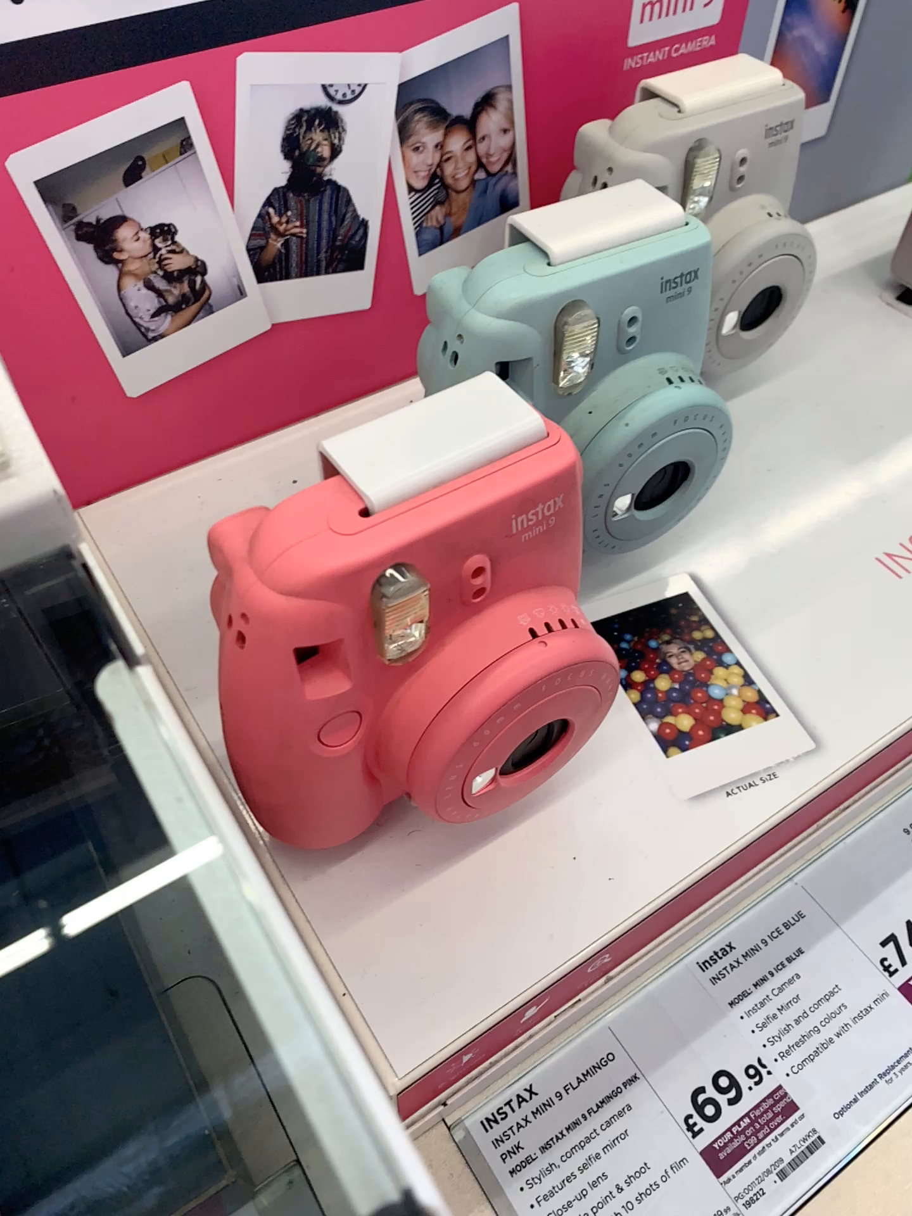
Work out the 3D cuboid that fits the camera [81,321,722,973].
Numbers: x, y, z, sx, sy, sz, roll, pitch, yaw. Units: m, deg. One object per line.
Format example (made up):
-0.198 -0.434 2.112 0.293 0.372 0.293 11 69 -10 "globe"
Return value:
-0.013 0.011 0.258 0.120 0.119 0.080 -27 55 -21 "camera"
